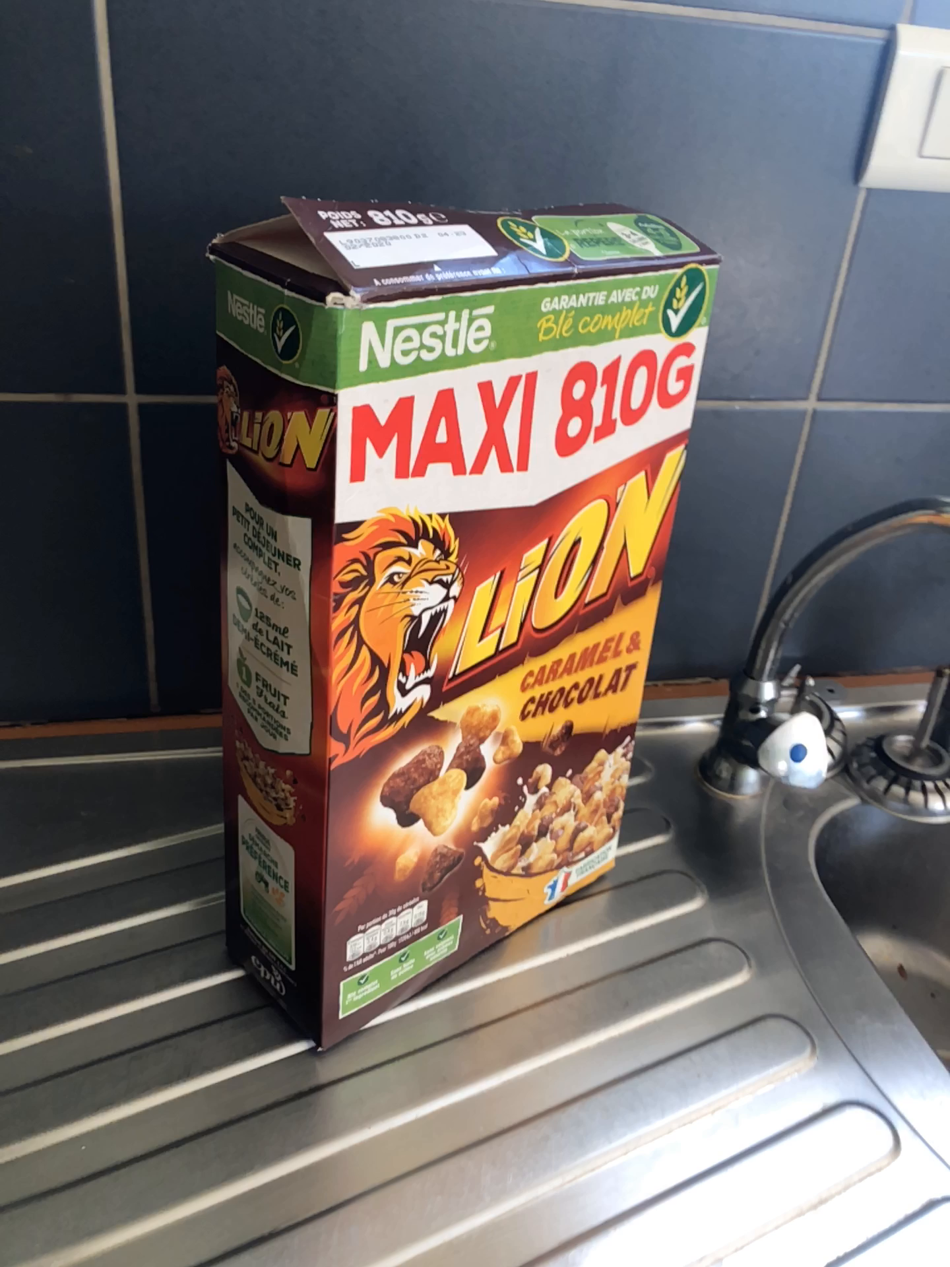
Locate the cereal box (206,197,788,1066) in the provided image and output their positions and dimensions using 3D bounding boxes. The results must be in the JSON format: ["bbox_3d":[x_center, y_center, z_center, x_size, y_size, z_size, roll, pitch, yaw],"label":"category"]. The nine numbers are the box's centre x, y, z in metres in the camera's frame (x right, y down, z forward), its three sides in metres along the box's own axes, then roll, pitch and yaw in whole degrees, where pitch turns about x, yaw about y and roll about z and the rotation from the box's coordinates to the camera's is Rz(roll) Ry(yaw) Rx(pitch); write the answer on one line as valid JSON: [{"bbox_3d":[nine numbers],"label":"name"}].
[{"bbox_3d":[0.003,-0.004,0.440,0.201,0.318,0.080,-20,38,-38],"label":"cereal box"}]
